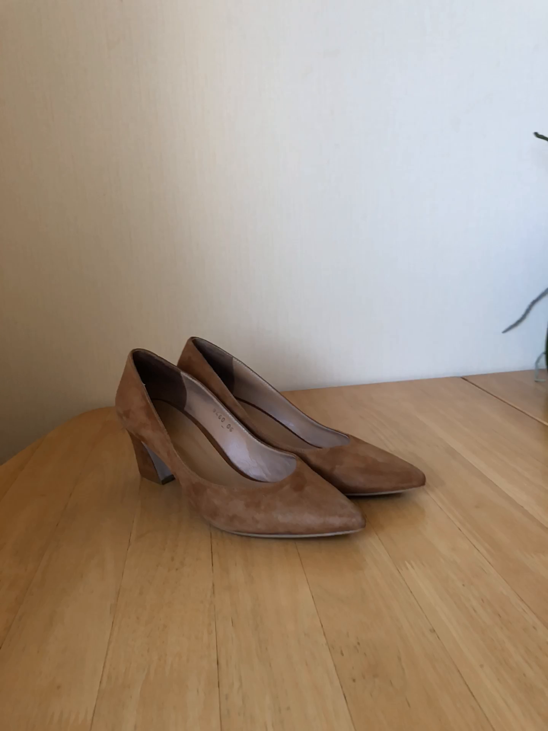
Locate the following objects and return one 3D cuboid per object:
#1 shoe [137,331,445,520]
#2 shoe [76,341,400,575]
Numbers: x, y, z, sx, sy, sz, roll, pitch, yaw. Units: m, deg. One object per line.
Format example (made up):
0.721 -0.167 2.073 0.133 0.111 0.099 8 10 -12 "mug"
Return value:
0.009 0.039 0.542 0.260 0.110 0.089 6 16 33 "shoe"
-0.037 0.053 0.476 0.250 0.110 0.089 8 17 38 "shoe"
